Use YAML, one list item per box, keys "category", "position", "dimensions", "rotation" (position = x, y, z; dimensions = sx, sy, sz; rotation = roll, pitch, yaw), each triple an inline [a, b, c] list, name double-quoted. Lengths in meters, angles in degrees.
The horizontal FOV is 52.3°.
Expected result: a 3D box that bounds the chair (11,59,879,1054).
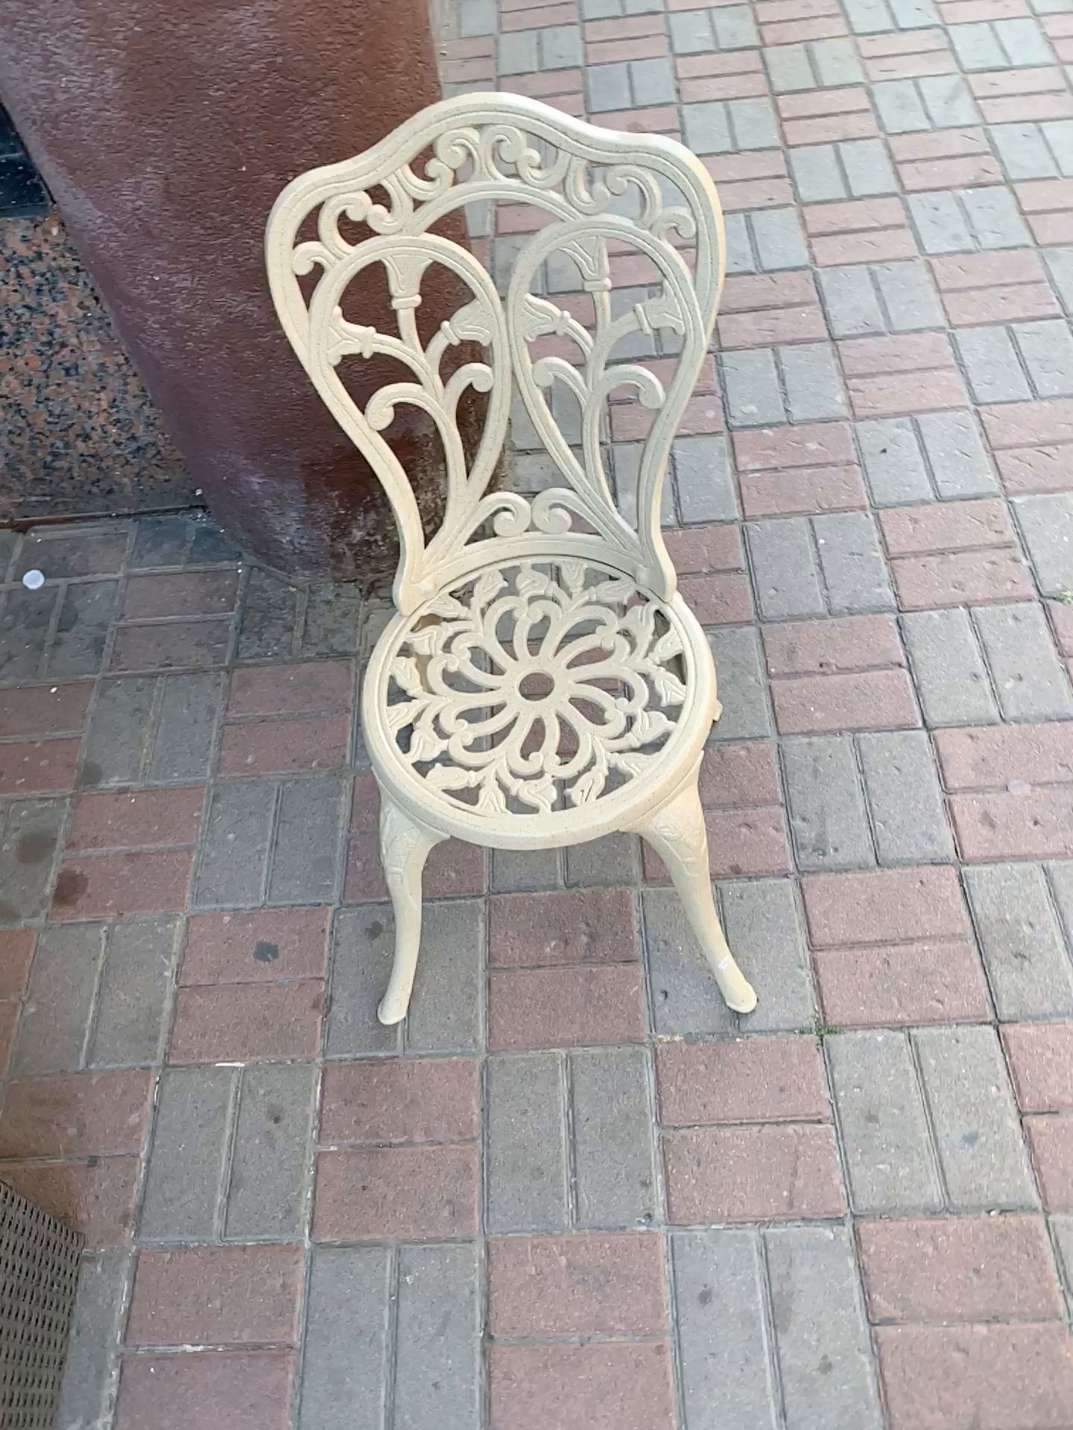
- category: "chair"
  position: [-0.014, -0.066, 1.079]
  dimensions: [0.480, 0.798, 0.551]
  rotation: [-3, 56, 5]
